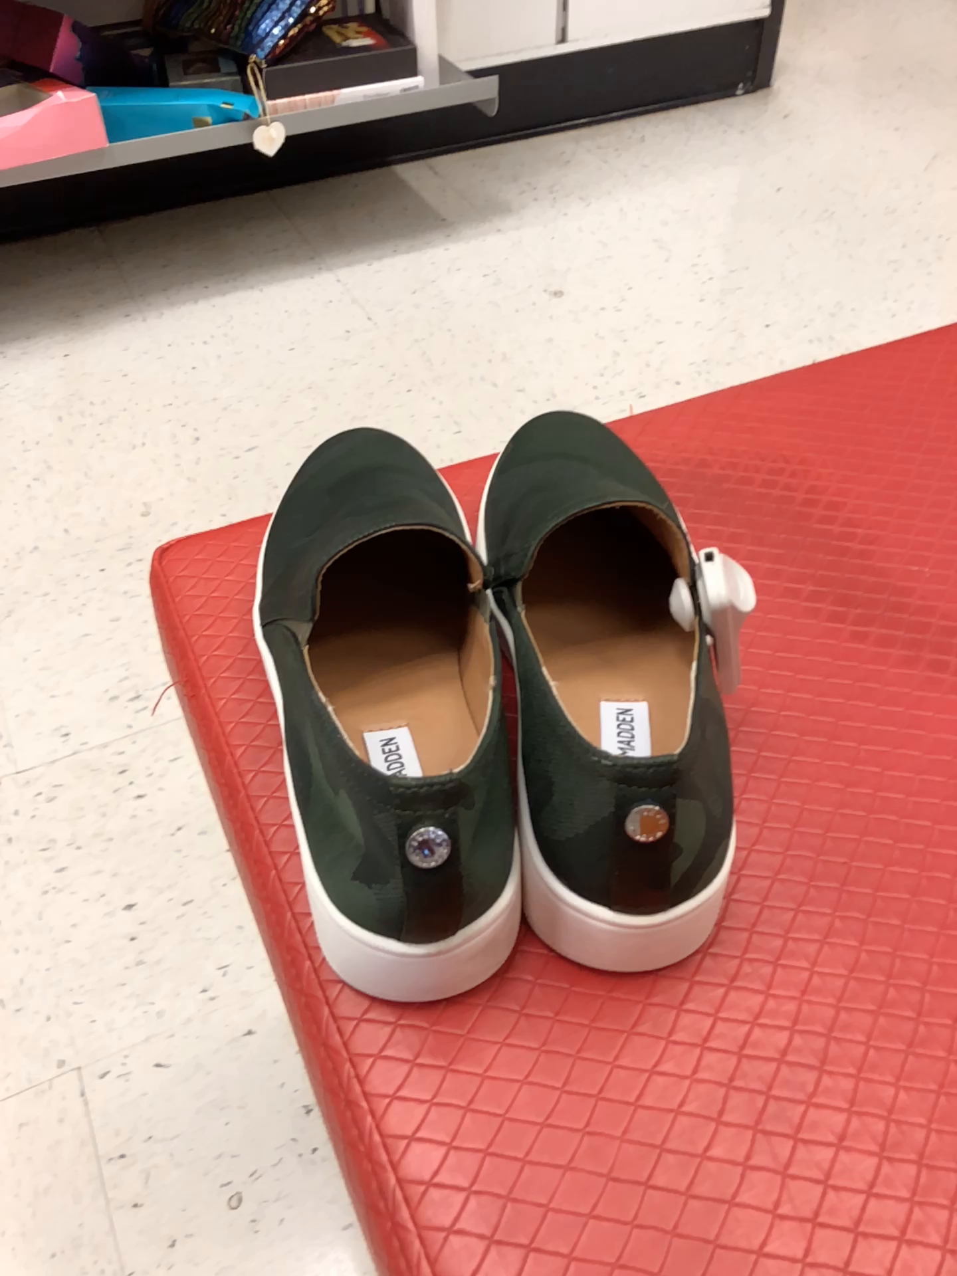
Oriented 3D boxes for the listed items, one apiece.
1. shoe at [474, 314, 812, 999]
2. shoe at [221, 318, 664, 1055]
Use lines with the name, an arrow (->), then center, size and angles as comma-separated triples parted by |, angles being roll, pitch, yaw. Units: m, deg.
shoe -> 0.043, -0.015, 0.403 | 0.077, 0.086, 0.277 | -2, 45, -1
shoe -> -0.031, -0.007, 0.393 | 0.105, 0.086, 0.277 | -9, 46, -8
